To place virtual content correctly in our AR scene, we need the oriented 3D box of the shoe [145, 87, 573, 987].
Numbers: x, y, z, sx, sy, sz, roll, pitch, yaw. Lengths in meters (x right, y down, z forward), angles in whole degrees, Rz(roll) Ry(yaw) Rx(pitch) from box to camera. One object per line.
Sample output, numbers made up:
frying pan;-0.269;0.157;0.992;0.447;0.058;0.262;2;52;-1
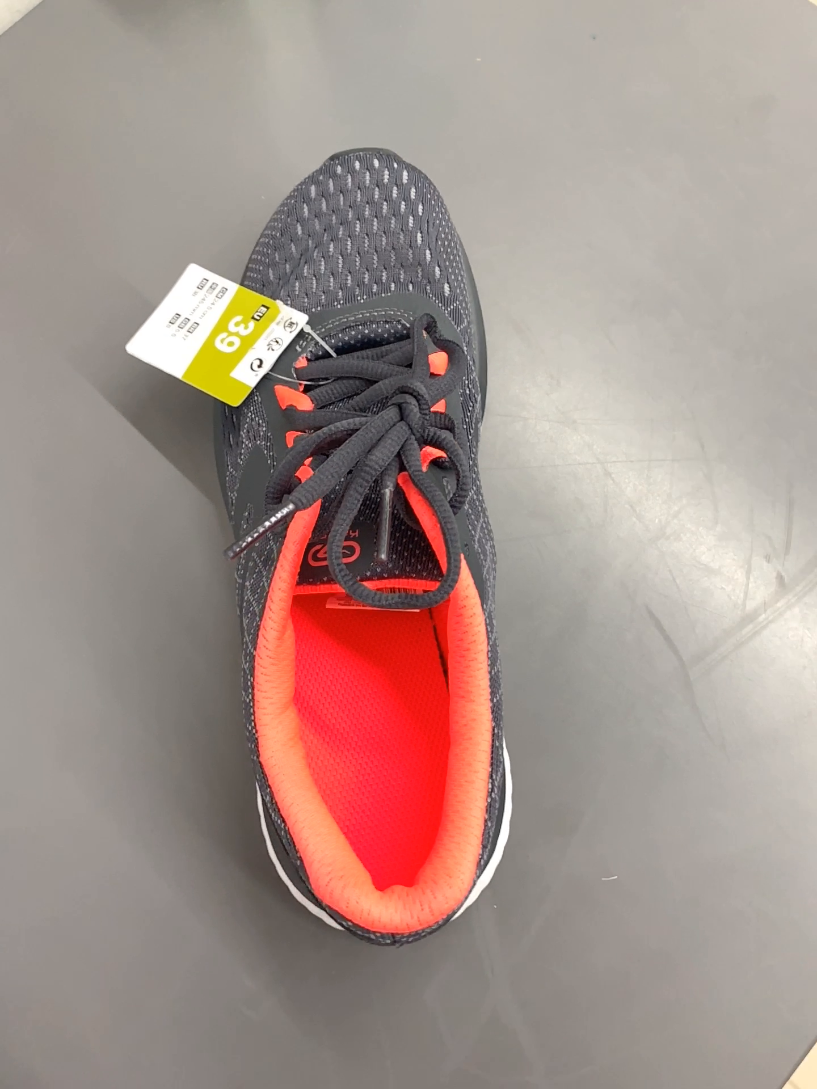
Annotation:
shoe;-0.018;-0.006;0.303;0.110;0.110;0.270;-3;76;0
